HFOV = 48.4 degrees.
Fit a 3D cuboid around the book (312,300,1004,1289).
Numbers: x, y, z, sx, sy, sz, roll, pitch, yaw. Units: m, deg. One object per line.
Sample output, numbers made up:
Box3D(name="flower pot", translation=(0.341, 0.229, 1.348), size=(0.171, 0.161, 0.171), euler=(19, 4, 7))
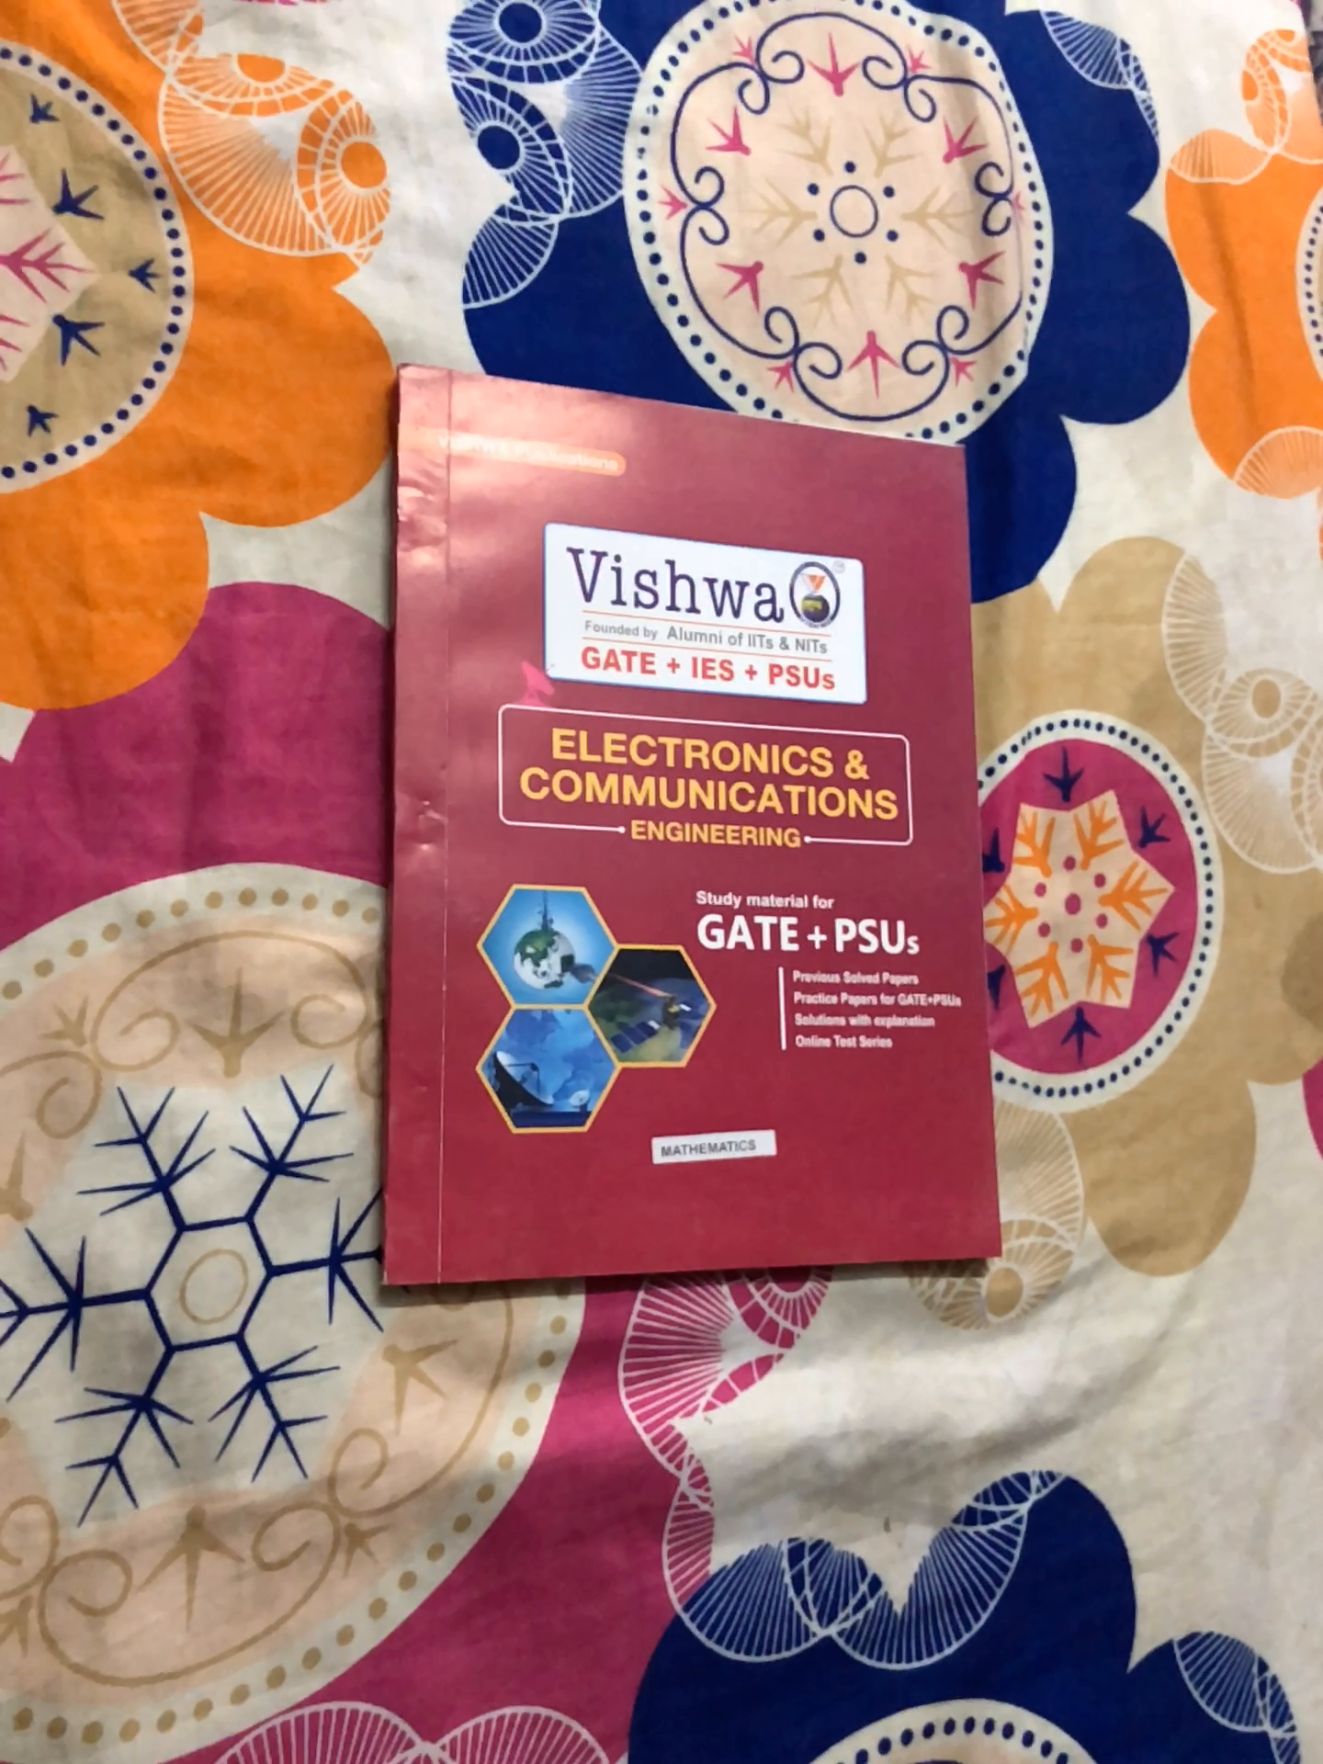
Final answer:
Box3D(name="book", translation=(0.002, -0.027, 0.483), size=(0.217, 0.030, 0.300), euler=(3, 79, -19))
